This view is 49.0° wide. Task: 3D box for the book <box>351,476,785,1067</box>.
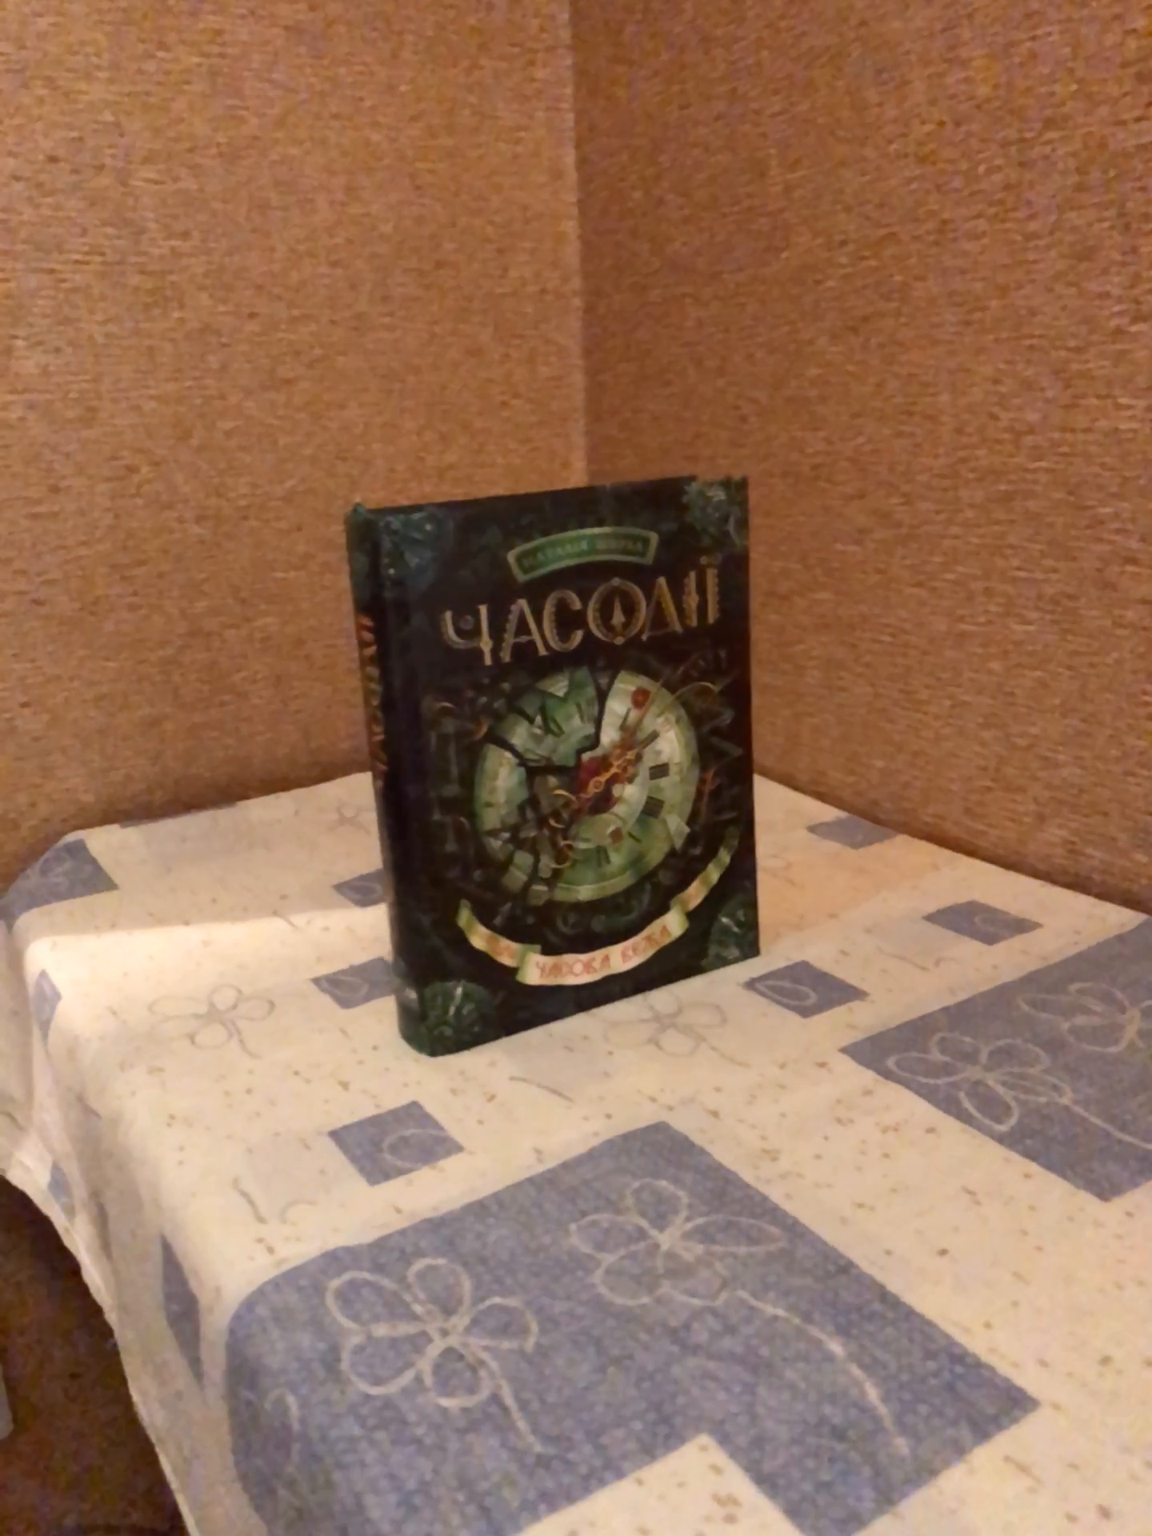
[{"bbox_3d":[0.005,-0.006,0.525,0.173,0.216,0.040,-10,16,-27],"label":"book"}]
